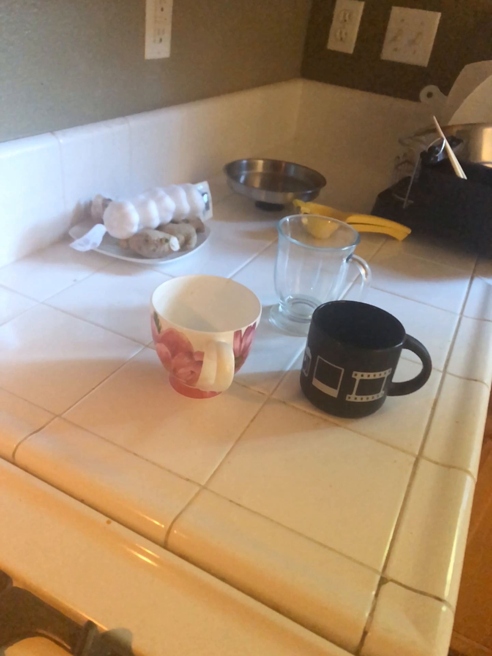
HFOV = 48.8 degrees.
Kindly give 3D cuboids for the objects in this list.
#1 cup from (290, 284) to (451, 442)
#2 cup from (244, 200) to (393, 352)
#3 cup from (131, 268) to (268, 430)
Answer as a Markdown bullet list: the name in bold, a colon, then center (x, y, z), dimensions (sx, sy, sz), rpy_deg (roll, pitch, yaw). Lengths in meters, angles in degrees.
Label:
- **cup**: center (0.126, 0.032, 0.554), dimensions (0.130, 0.089, 0.101), rpy_deg (15, 34, 9)
- **cup**: center (0.081, -0.067, 0.646), dimensions (0.101, 0.119, 0.120), rpy_deg (-20, 43, -36)
- **cup**: center (-0.045, 0.015, 0.521), dimensions (0.110, 0.079, 0.141), rpy_deg (4, 34, -7)
